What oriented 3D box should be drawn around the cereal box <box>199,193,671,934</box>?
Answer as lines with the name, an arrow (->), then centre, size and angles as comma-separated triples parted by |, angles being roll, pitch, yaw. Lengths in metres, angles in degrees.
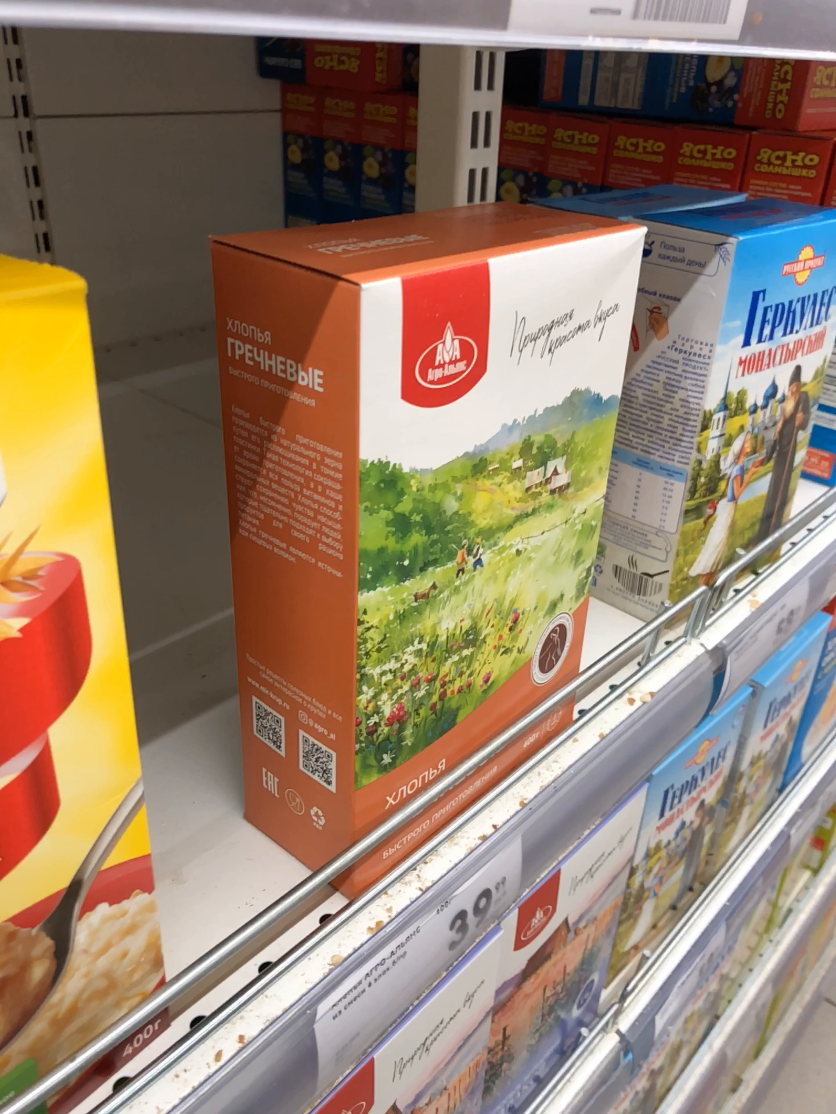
cereal box -> 0.008, -0.004, 0.300 | 0.060, 0.199, 0.130 | 23, 34, 35
